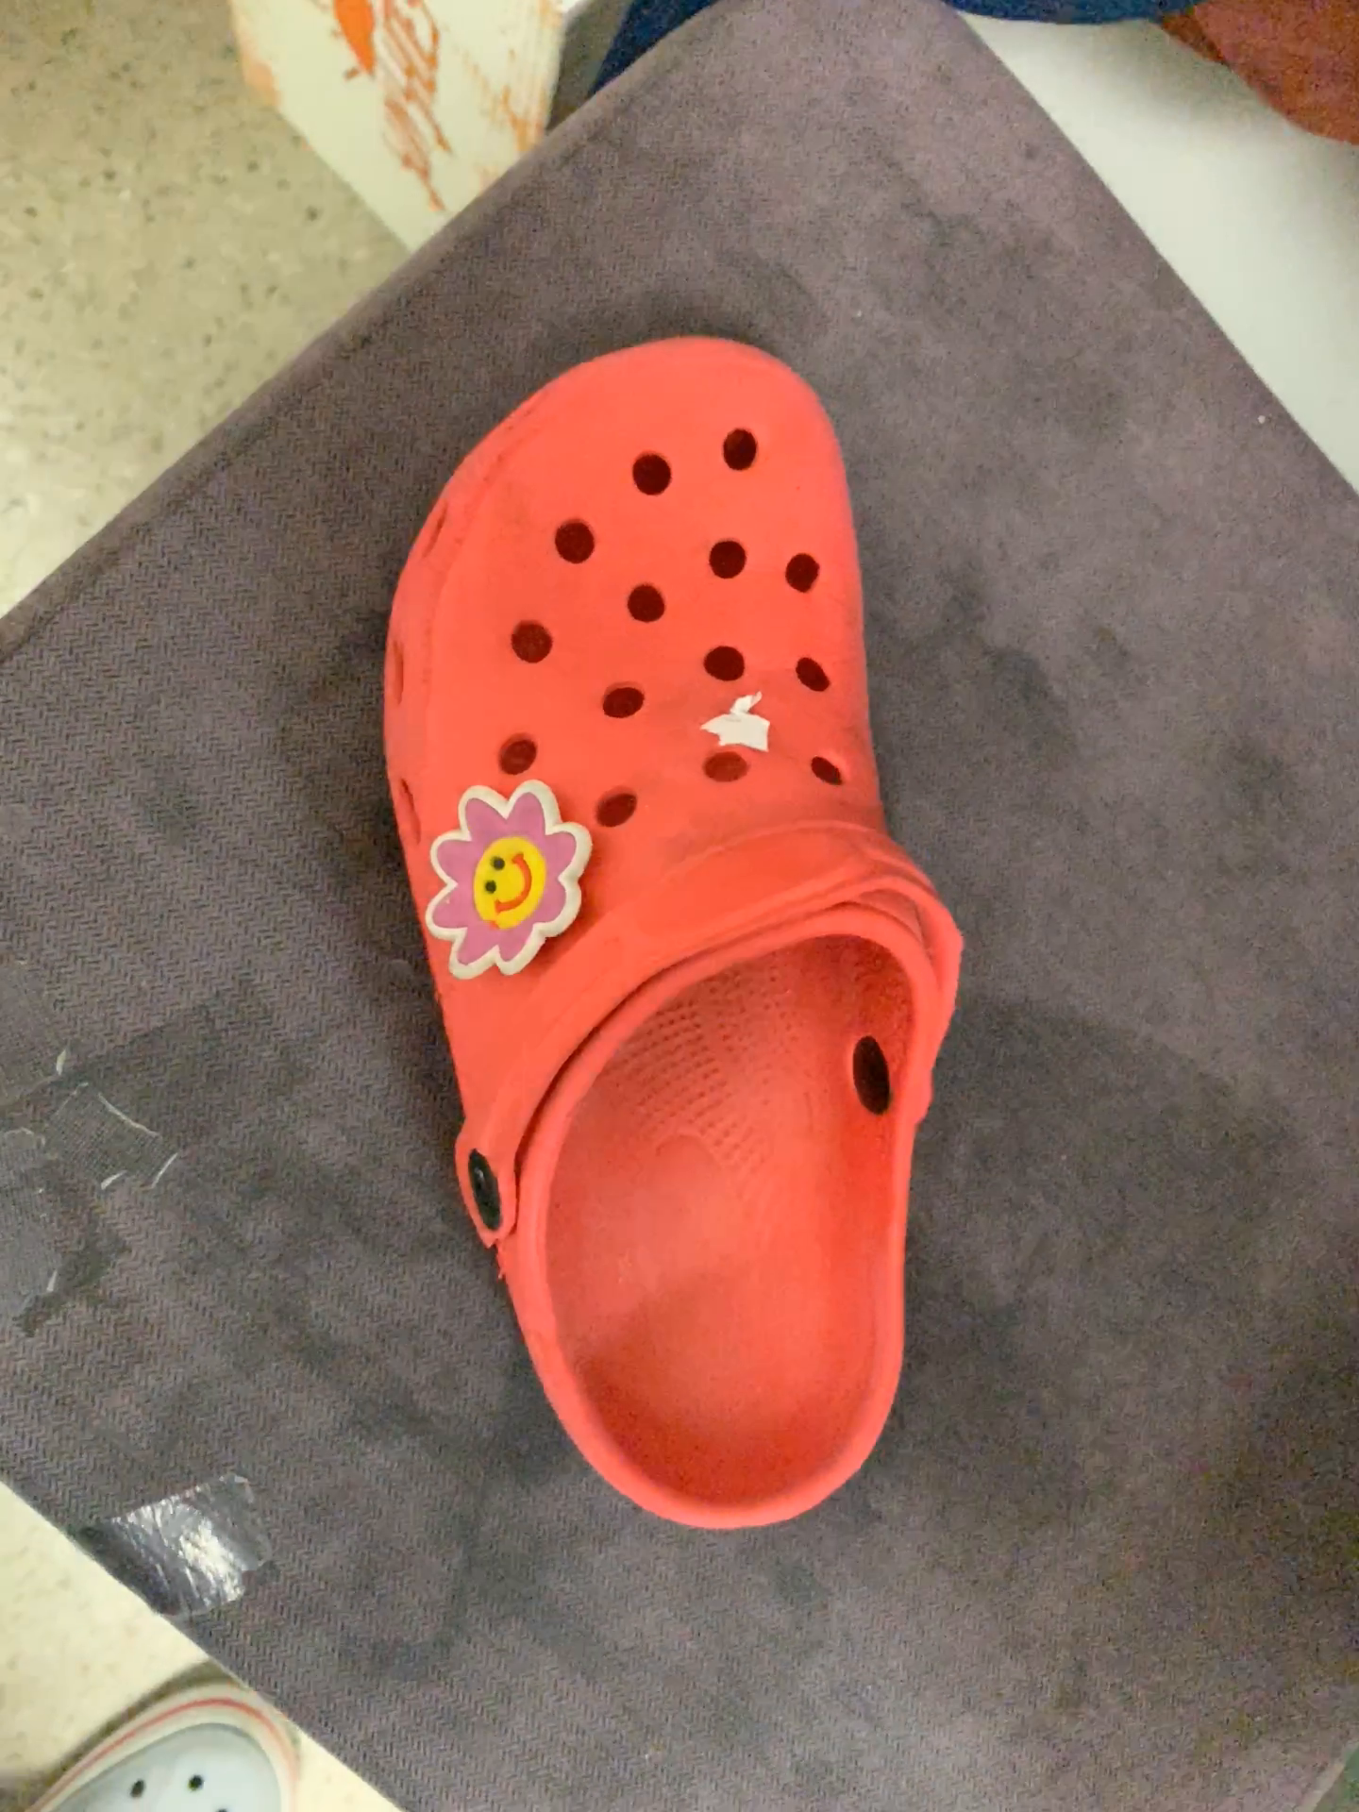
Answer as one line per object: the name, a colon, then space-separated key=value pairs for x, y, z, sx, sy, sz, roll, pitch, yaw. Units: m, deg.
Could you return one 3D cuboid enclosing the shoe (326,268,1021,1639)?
shoe: x=-0.007 y=0.004 z=0.263 sx=0.092 sy=0.081 sz=0.208 roll=-6 pitch=91 yaw=-12
